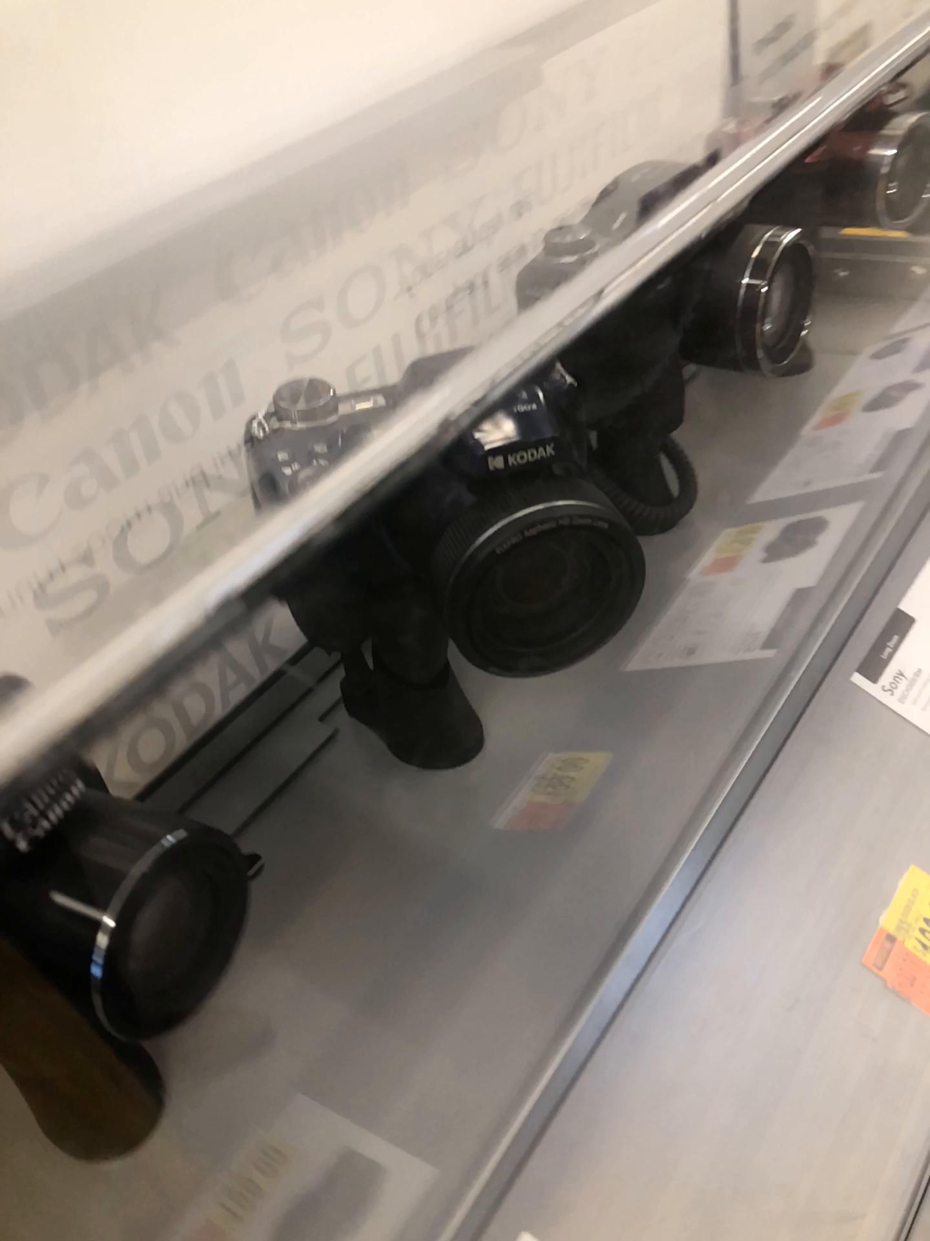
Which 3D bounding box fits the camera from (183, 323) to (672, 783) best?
[{"bbox_3d":[-0.014,-0.030,0.357,0.130,0.080,0.111,-19,39,-12],"label":"camera"}]
